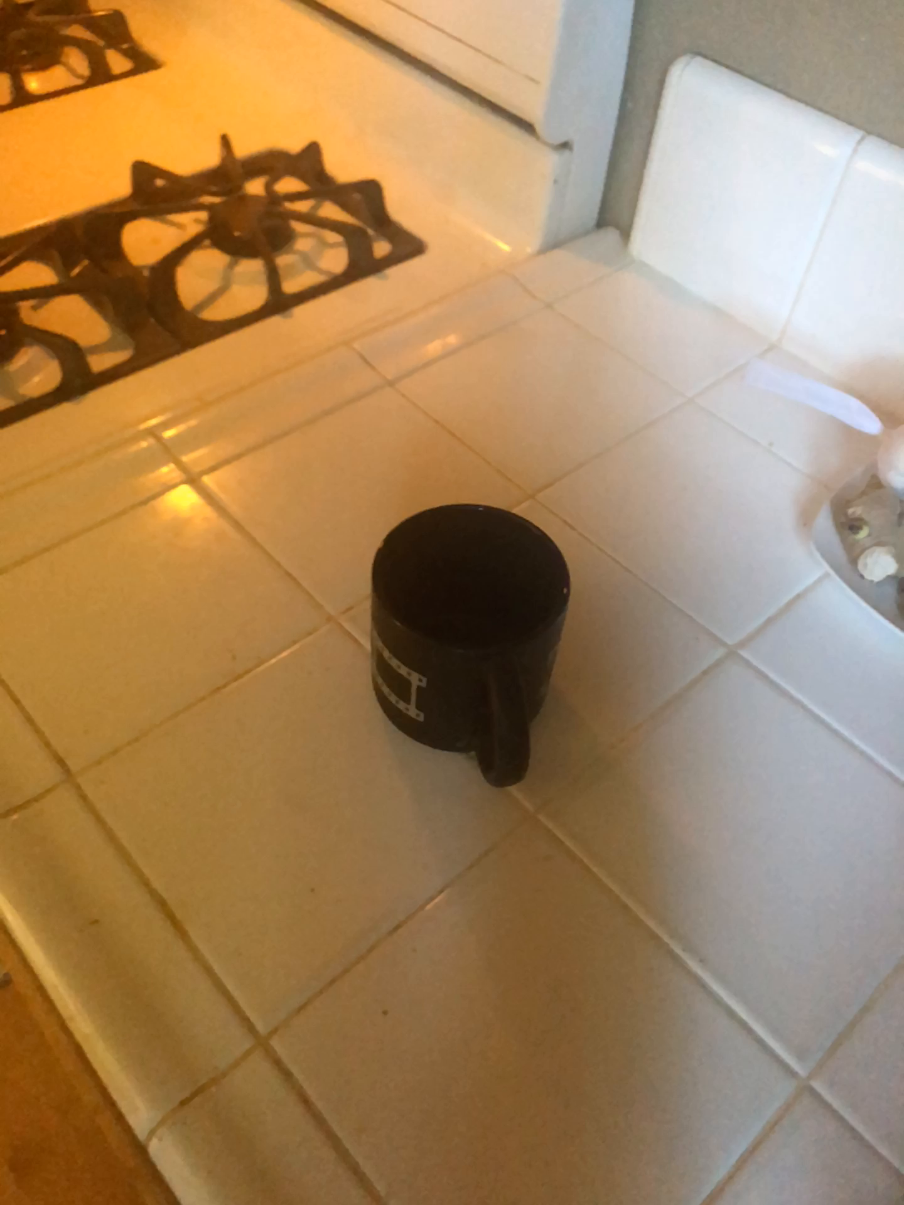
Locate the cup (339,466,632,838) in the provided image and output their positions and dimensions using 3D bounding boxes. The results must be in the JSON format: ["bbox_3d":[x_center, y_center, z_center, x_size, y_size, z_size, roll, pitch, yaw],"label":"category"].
[{"bbox_3d":[0.007,0.020,0.466,0.090,0.089,0.131,-11,52,-14],"label":"cup"}]
